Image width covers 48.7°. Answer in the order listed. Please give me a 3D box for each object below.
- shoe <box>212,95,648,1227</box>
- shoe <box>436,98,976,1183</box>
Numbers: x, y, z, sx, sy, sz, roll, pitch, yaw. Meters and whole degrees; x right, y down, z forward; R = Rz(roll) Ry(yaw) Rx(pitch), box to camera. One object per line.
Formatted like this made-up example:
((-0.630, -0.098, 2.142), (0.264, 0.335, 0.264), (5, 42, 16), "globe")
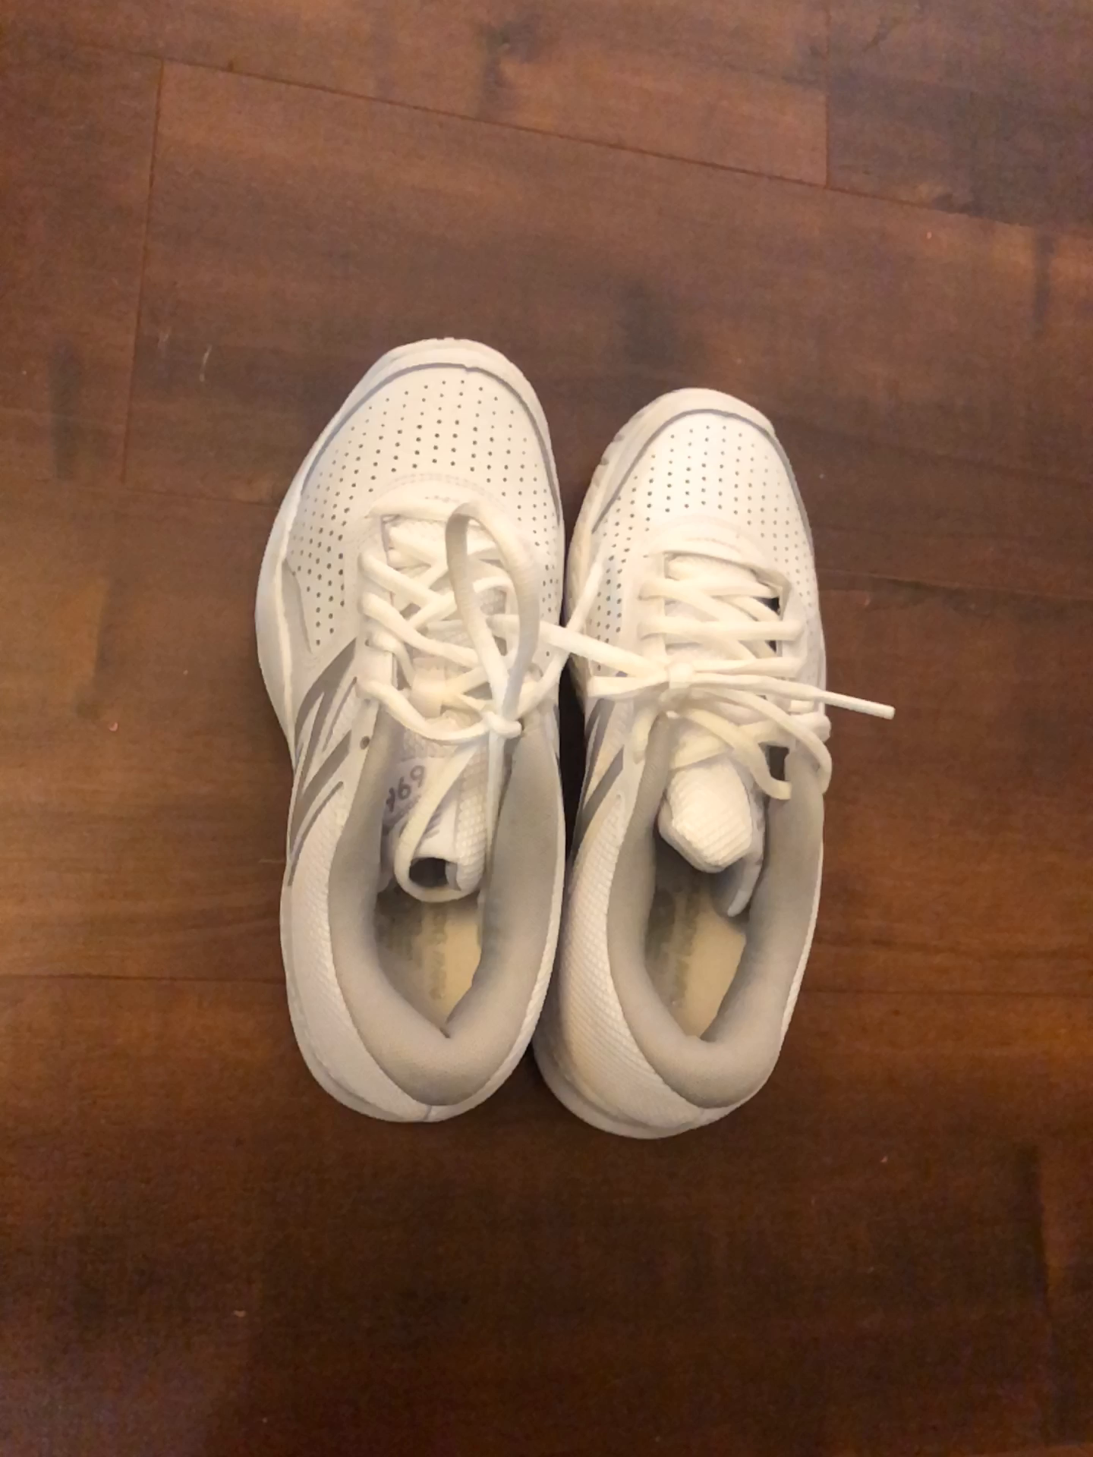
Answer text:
((-0.042, -0.016, 0.397), (0.100, 0.130, 0.310), (6, 81, -14), "shoe")
((0.048, -0.021, 0.435), (0.120, 0.170, 0.310), (8, 80, -11), "shoe")
